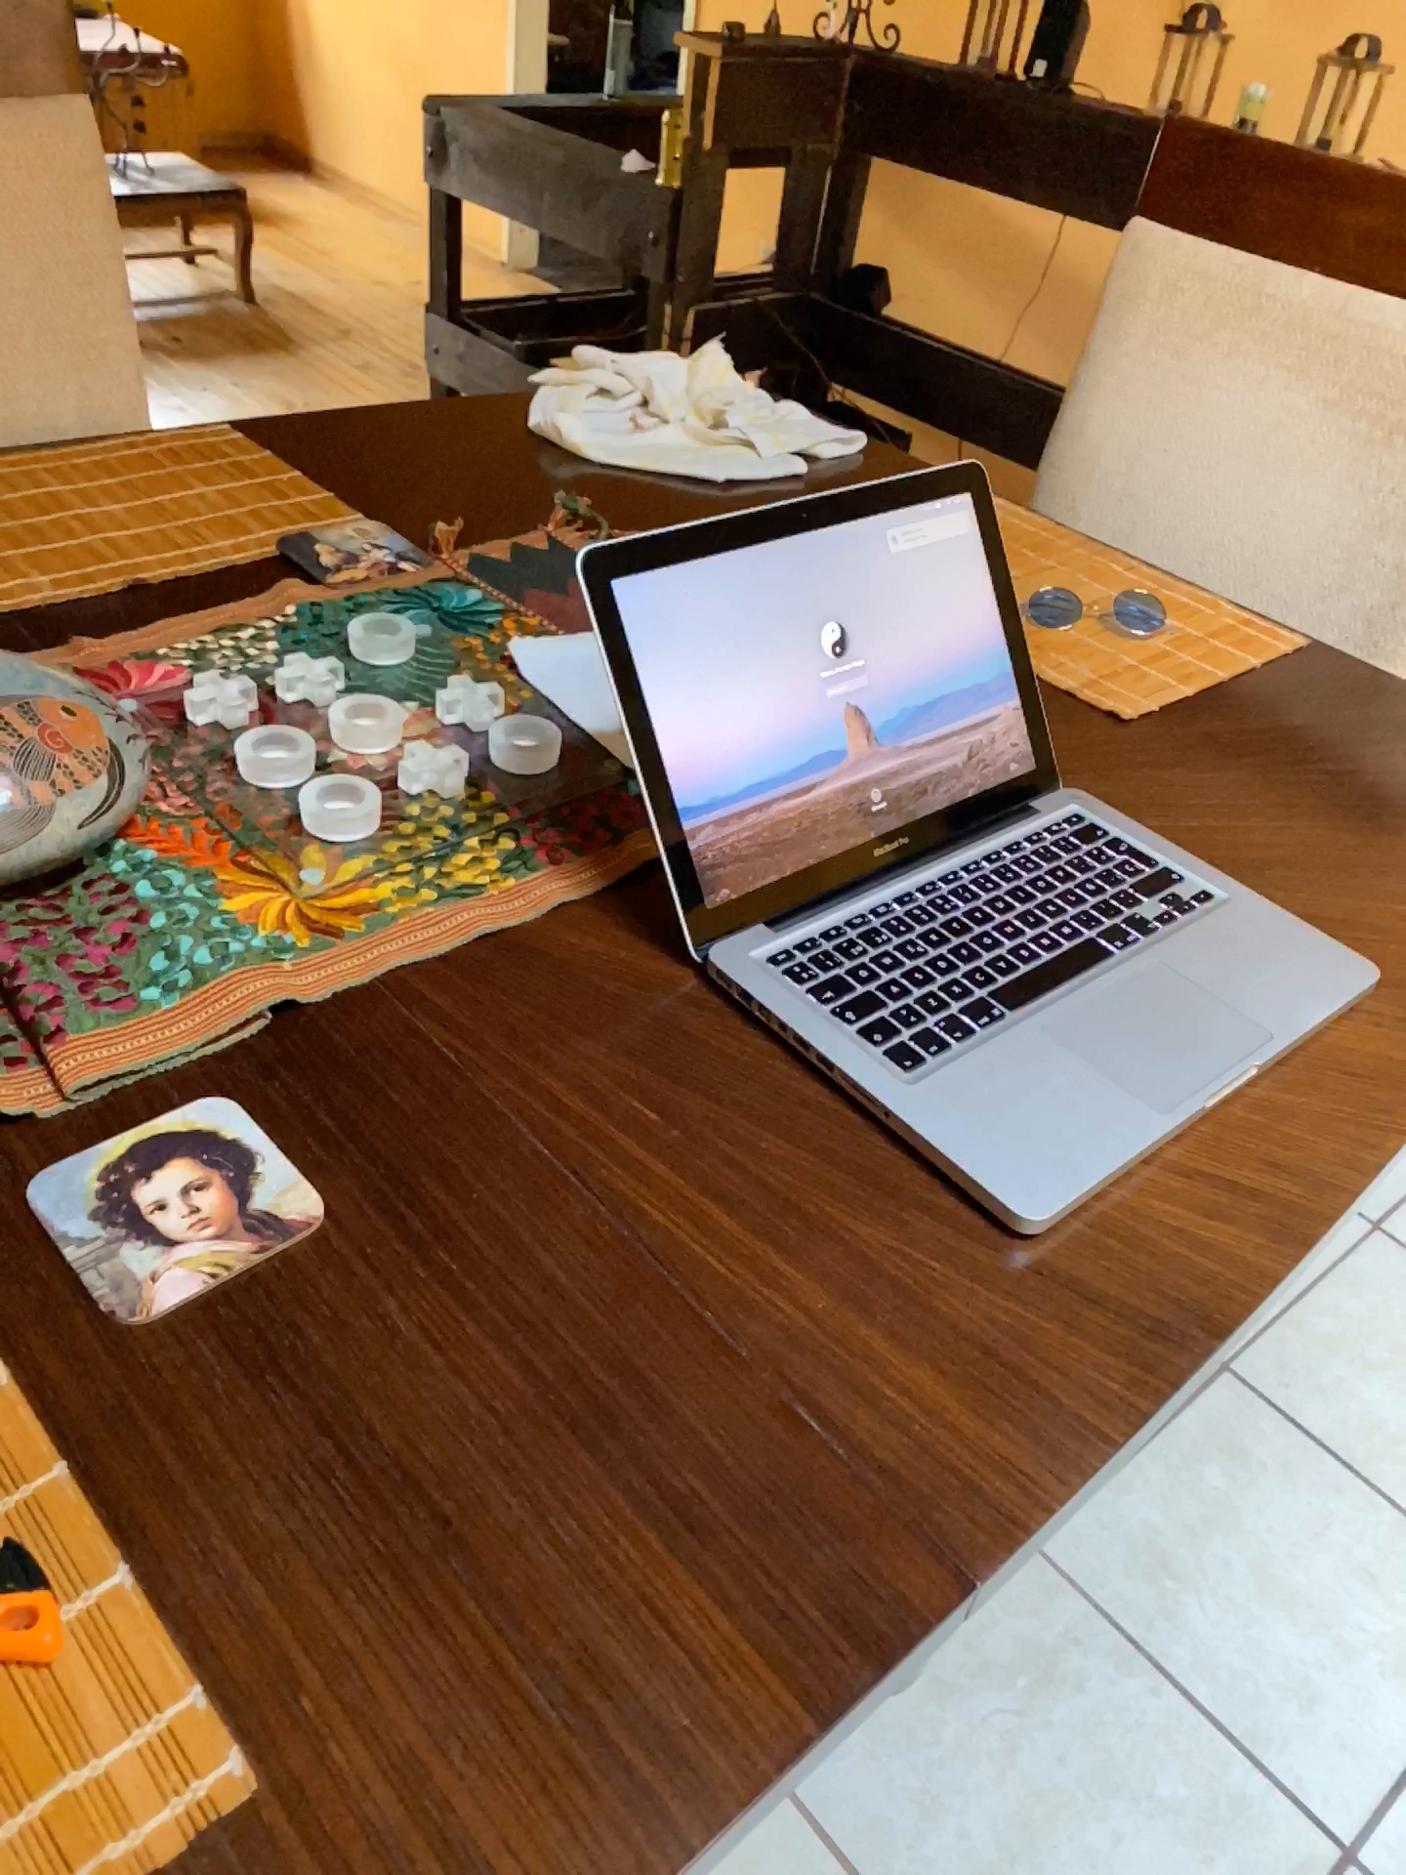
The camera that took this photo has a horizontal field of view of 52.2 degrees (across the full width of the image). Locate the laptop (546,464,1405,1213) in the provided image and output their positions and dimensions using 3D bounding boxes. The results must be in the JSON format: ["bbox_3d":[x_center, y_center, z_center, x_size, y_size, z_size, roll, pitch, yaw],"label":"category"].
[{"bbox_3d":[0.153,-0.092,0.796,0.326,0.170,0.358,-24,48,-35],"label":"laptop"}]
